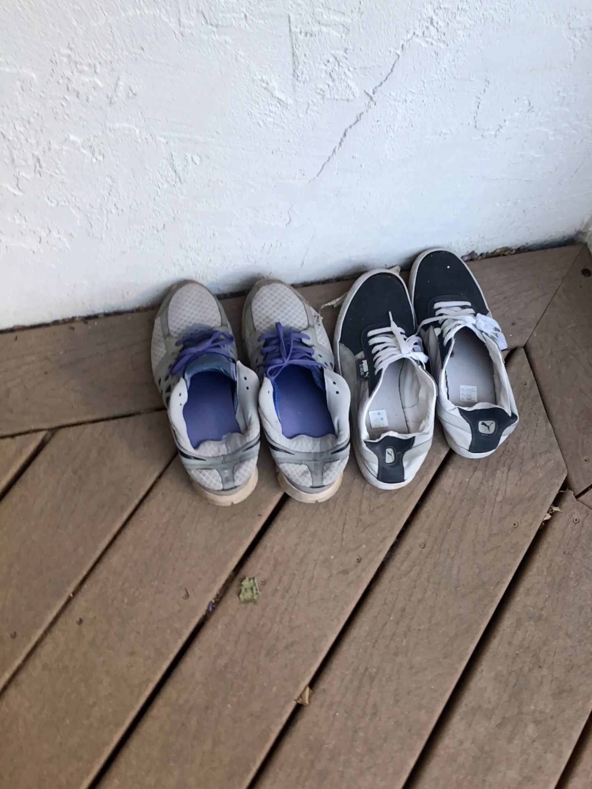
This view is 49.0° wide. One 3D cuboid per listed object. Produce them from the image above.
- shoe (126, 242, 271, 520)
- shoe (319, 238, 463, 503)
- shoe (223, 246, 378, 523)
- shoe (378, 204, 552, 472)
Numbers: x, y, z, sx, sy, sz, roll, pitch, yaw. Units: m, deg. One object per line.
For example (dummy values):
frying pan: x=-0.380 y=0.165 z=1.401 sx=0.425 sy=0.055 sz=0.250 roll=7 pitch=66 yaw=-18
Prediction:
shoe: x=-0.123 y=-0.018 z=0.821 sx=0.120 sy=0.100 sz=0.320 roll=-11 pitch=73 yaw=-6
shoe: x=0.113 y=-0.033 z=0.843 sx=0.120 sy=0.100 sz=0.320 roll=-5 pitch=72 yaw=-5
shoe: x=-0.002 y=-0.014 z=0.825 sx=0.120 sy=0.100 sz=0.320 roll=-11 pitch=73 yaw=-6
shoe: x=0.215 y=-0.078 z=0.871 sx=0.120 sy=0.100 sz=0.330 roll=-10 pitch=73 yaw=-6
